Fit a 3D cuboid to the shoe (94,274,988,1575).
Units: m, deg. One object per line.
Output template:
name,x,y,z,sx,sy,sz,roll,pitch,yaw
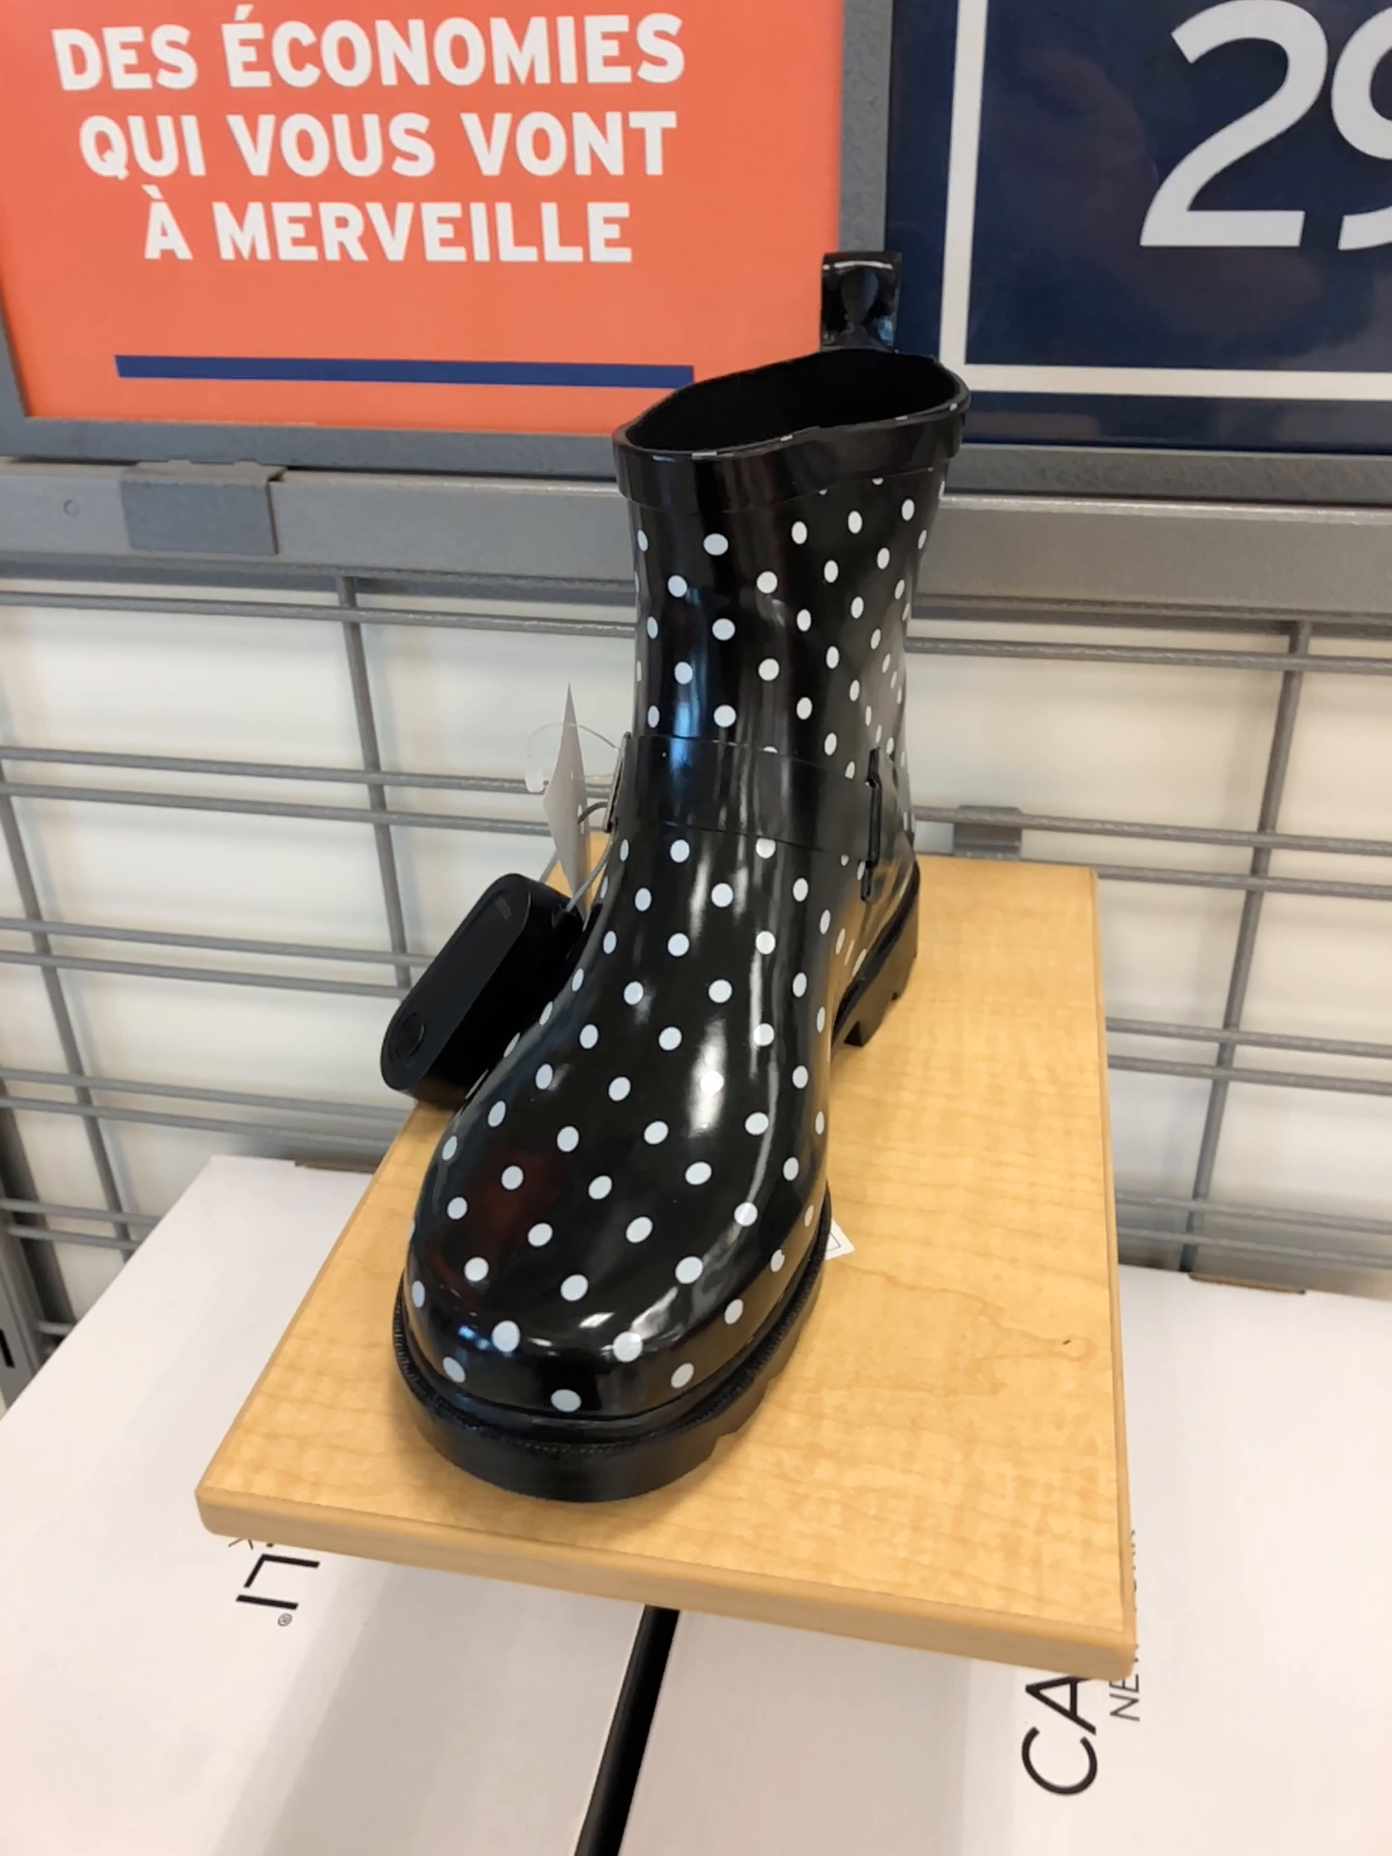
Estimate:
shoe,-0.001,-0.031,0.361,0.095,0.188,0.262,7,32,14
